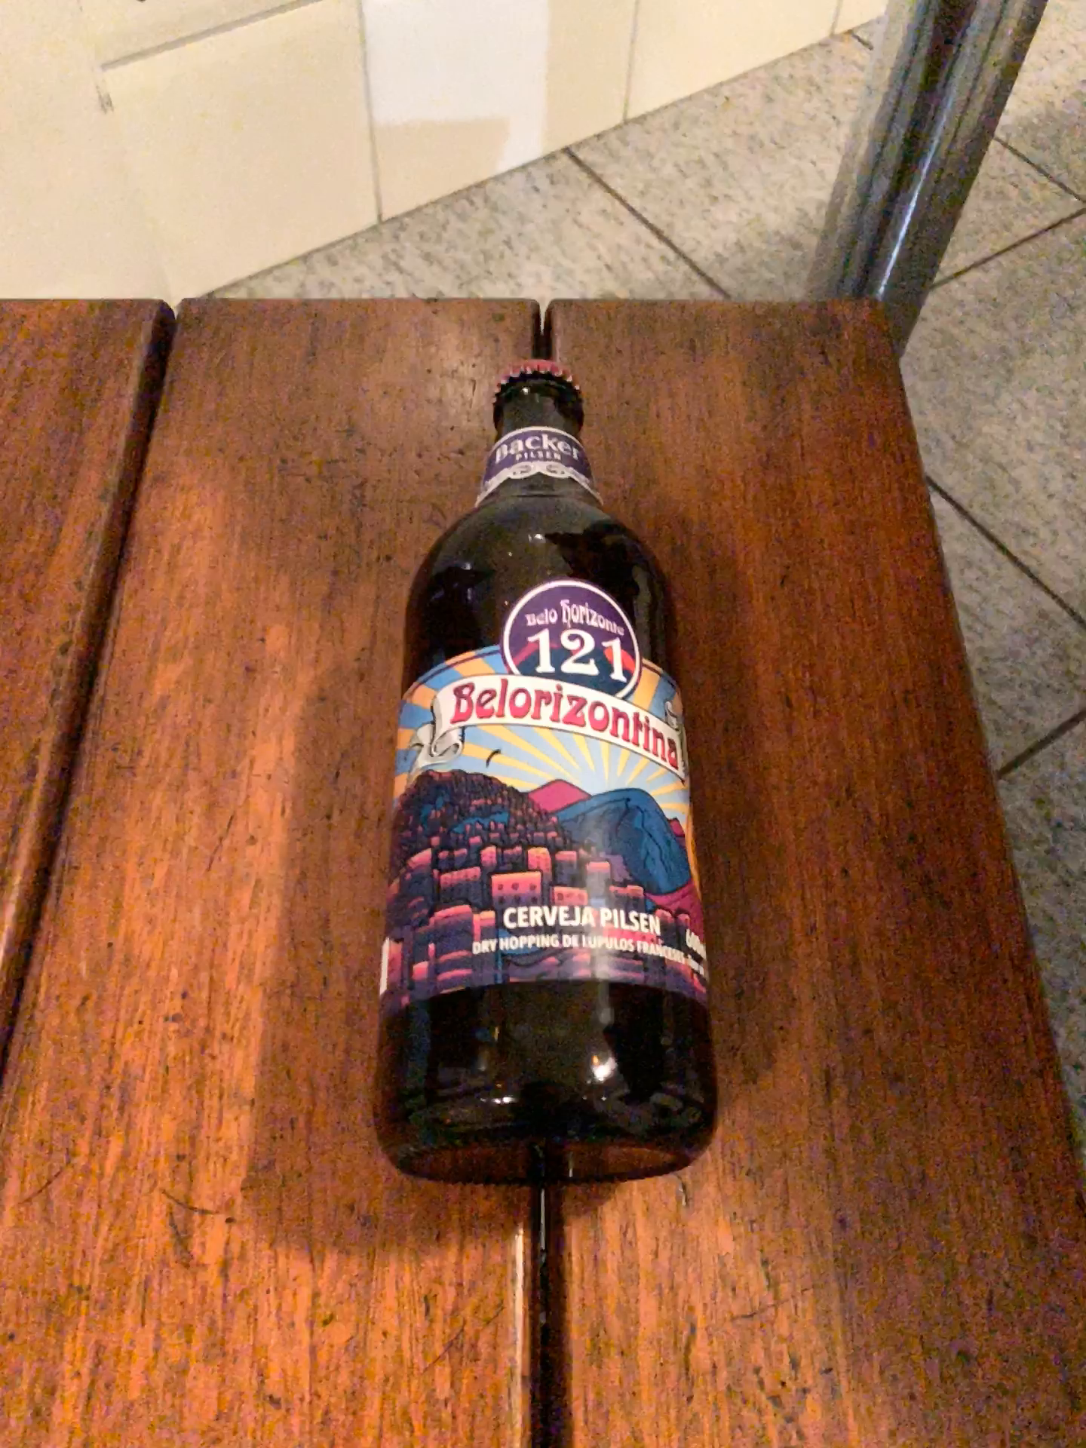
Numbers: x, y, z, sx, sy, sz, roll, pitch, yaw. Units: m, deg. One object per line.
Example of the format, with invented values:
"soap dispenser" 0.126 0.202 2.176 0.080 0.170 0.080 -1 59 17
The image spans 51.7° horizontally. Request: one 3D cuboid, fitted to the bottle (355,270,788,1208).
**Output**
"bottle" -0.002 -0.010 0.286 0.080 0.050 0.241 3 60 -9
